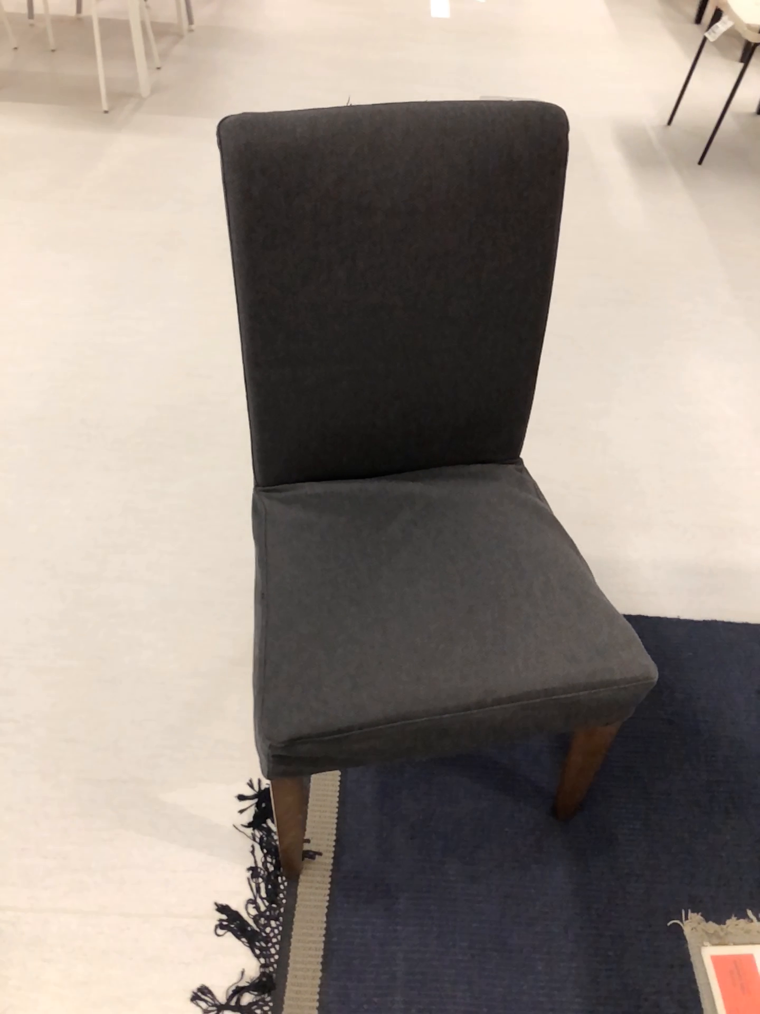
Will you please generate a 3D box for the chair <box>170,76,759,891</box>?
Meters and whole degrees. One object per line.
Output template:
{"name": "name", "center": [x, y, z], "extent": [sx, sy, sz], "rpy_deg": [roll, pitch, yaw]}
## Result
{"name": "chair", "center": [0.060, 0.029, 1.150], "extent": [0.540, 0.964, 0.553], "rpy_deg": [-6, 48, -9]}
